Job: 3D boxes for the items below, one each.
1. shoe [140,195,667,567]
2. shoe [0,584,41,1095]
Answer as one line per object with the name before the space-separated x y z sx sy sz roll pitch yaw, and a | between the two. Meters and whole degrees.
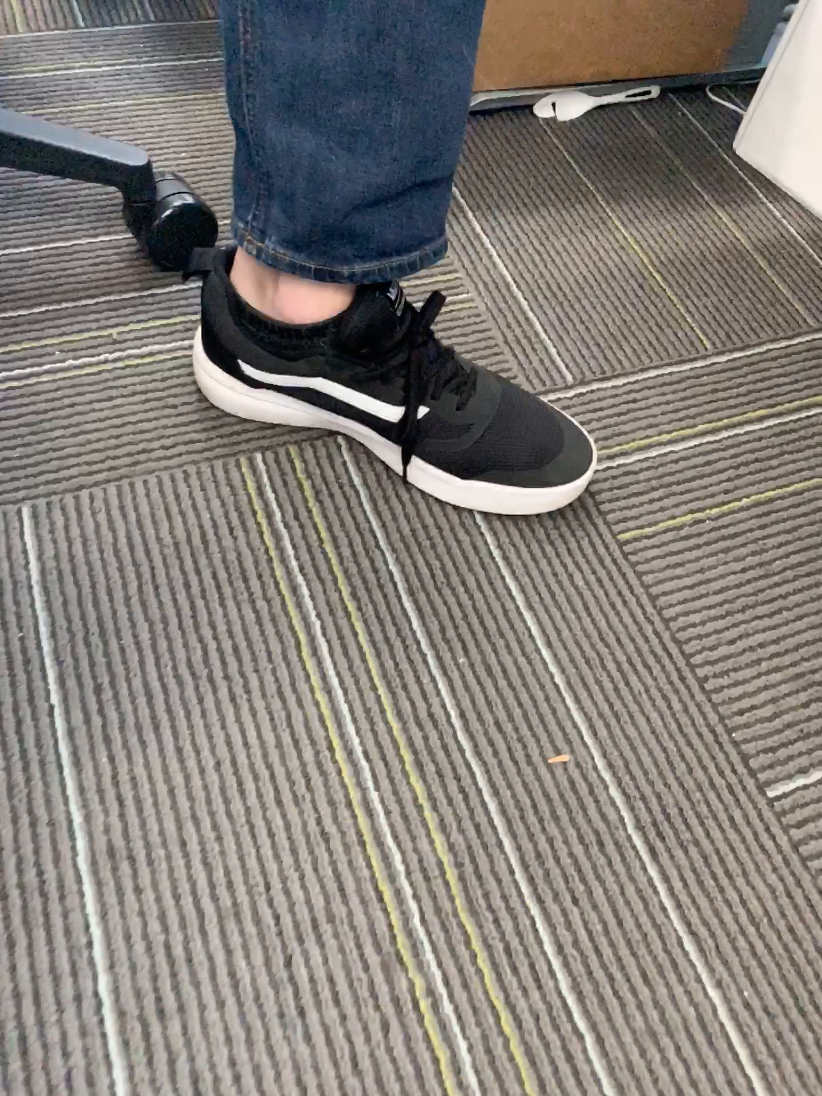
shoe | -0.006 -0.117 0.591 0.320 0.110 0.120 20 58 6
shoe | -0.308 0.192 0.382 0.120 0.120 0.321 -29 66 -23
